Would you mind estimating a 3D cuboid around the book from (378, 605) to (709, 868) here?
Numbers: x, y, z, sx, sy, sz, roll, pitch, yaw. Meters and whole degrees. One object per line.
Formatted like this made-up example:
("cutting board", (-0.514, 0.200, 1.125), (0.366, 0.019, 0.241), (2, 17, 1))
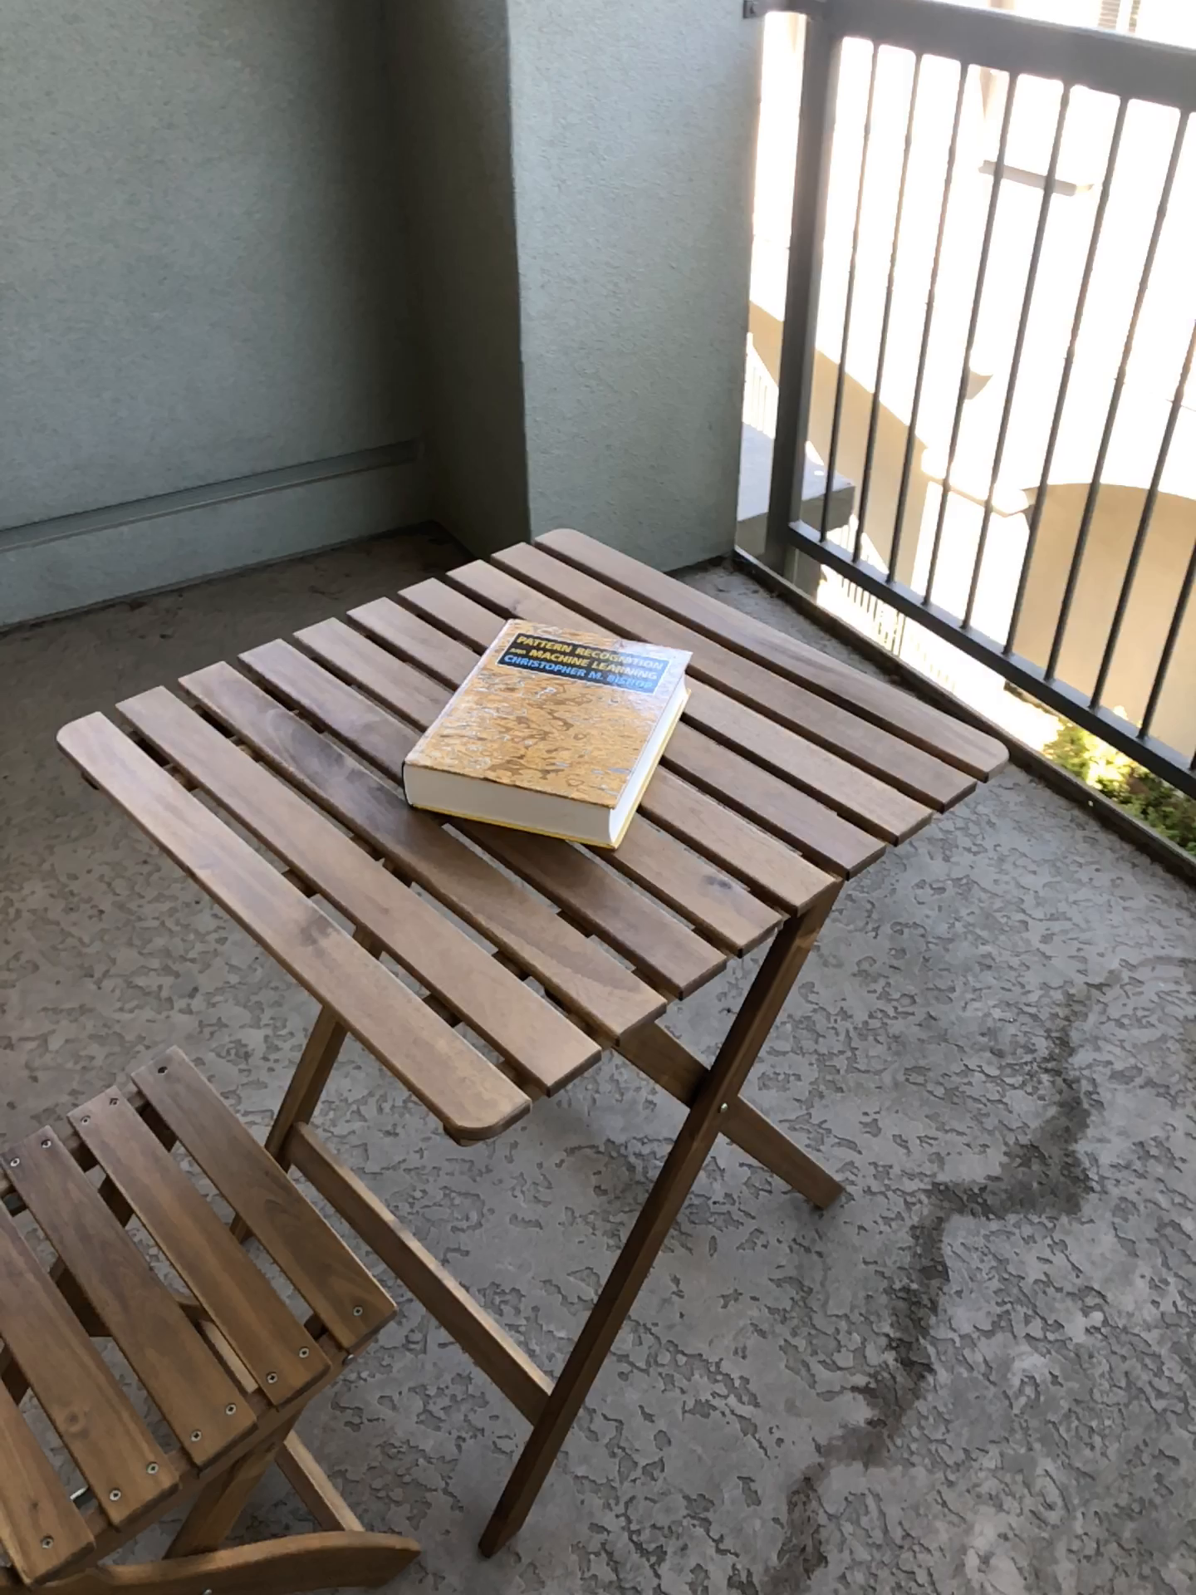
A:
("book", (-0.035, -0.060, 1.068), (0.190, 0.050, 0.251), (11, 40, 15))
